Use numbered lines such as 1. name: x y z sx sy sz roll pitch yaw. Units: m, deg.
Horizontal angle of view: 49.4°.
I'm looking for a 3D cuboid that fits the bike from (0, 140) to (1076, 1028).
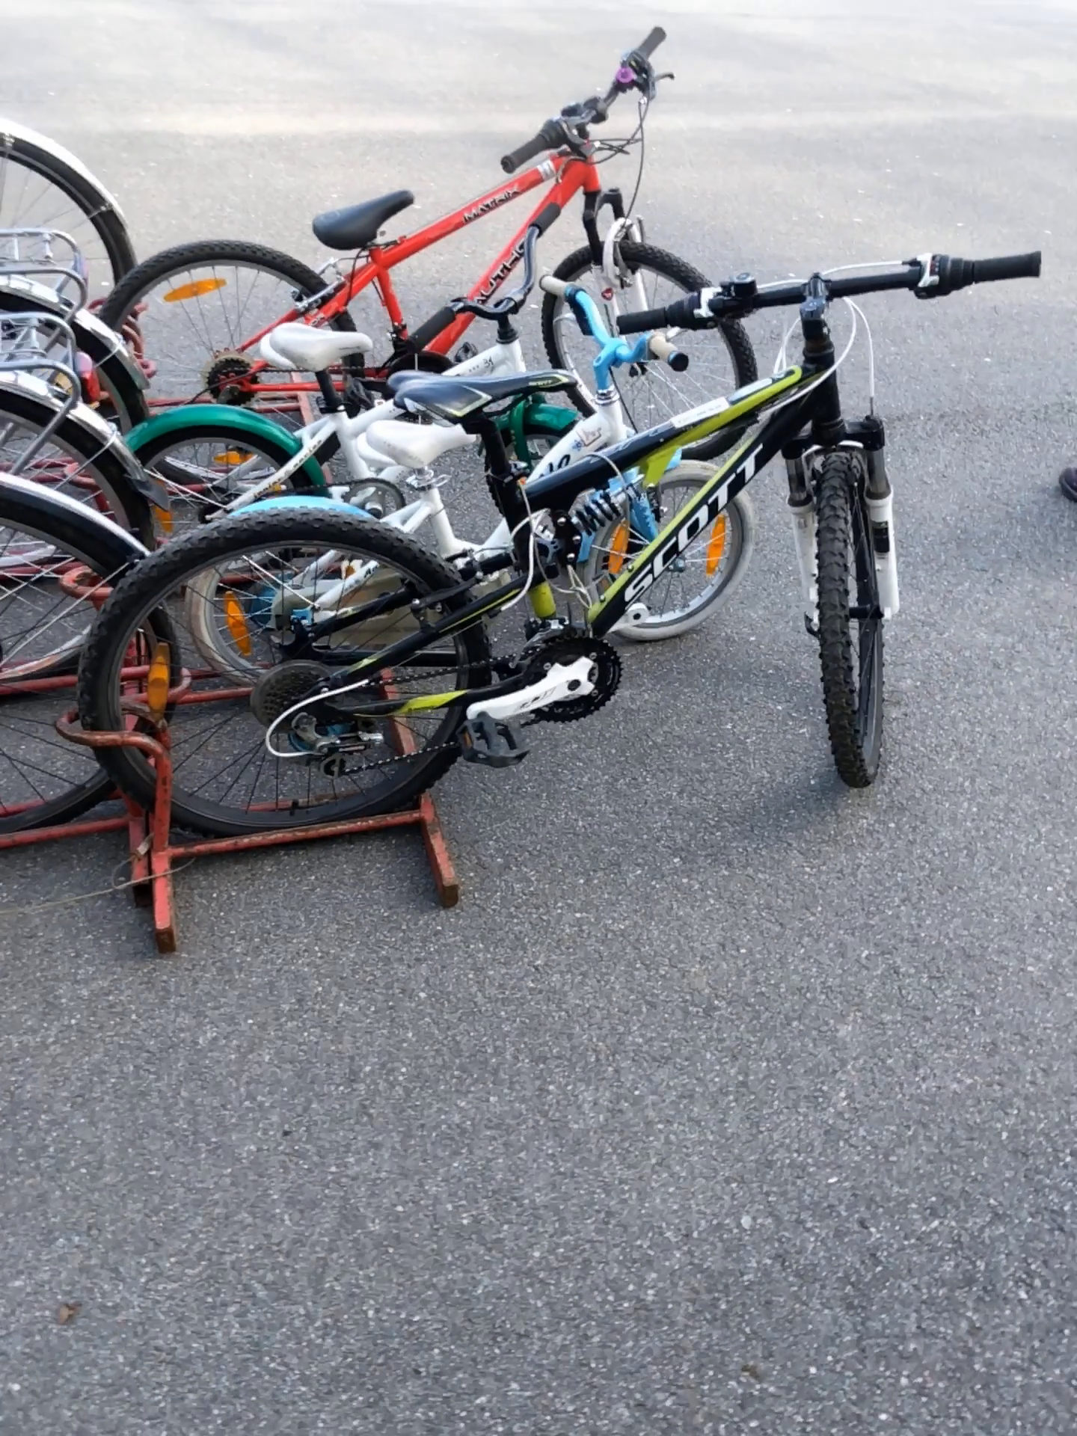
1. bike: 0.008 -0.276 1.775 1.374 0.901 0.530 -15 40 -21
